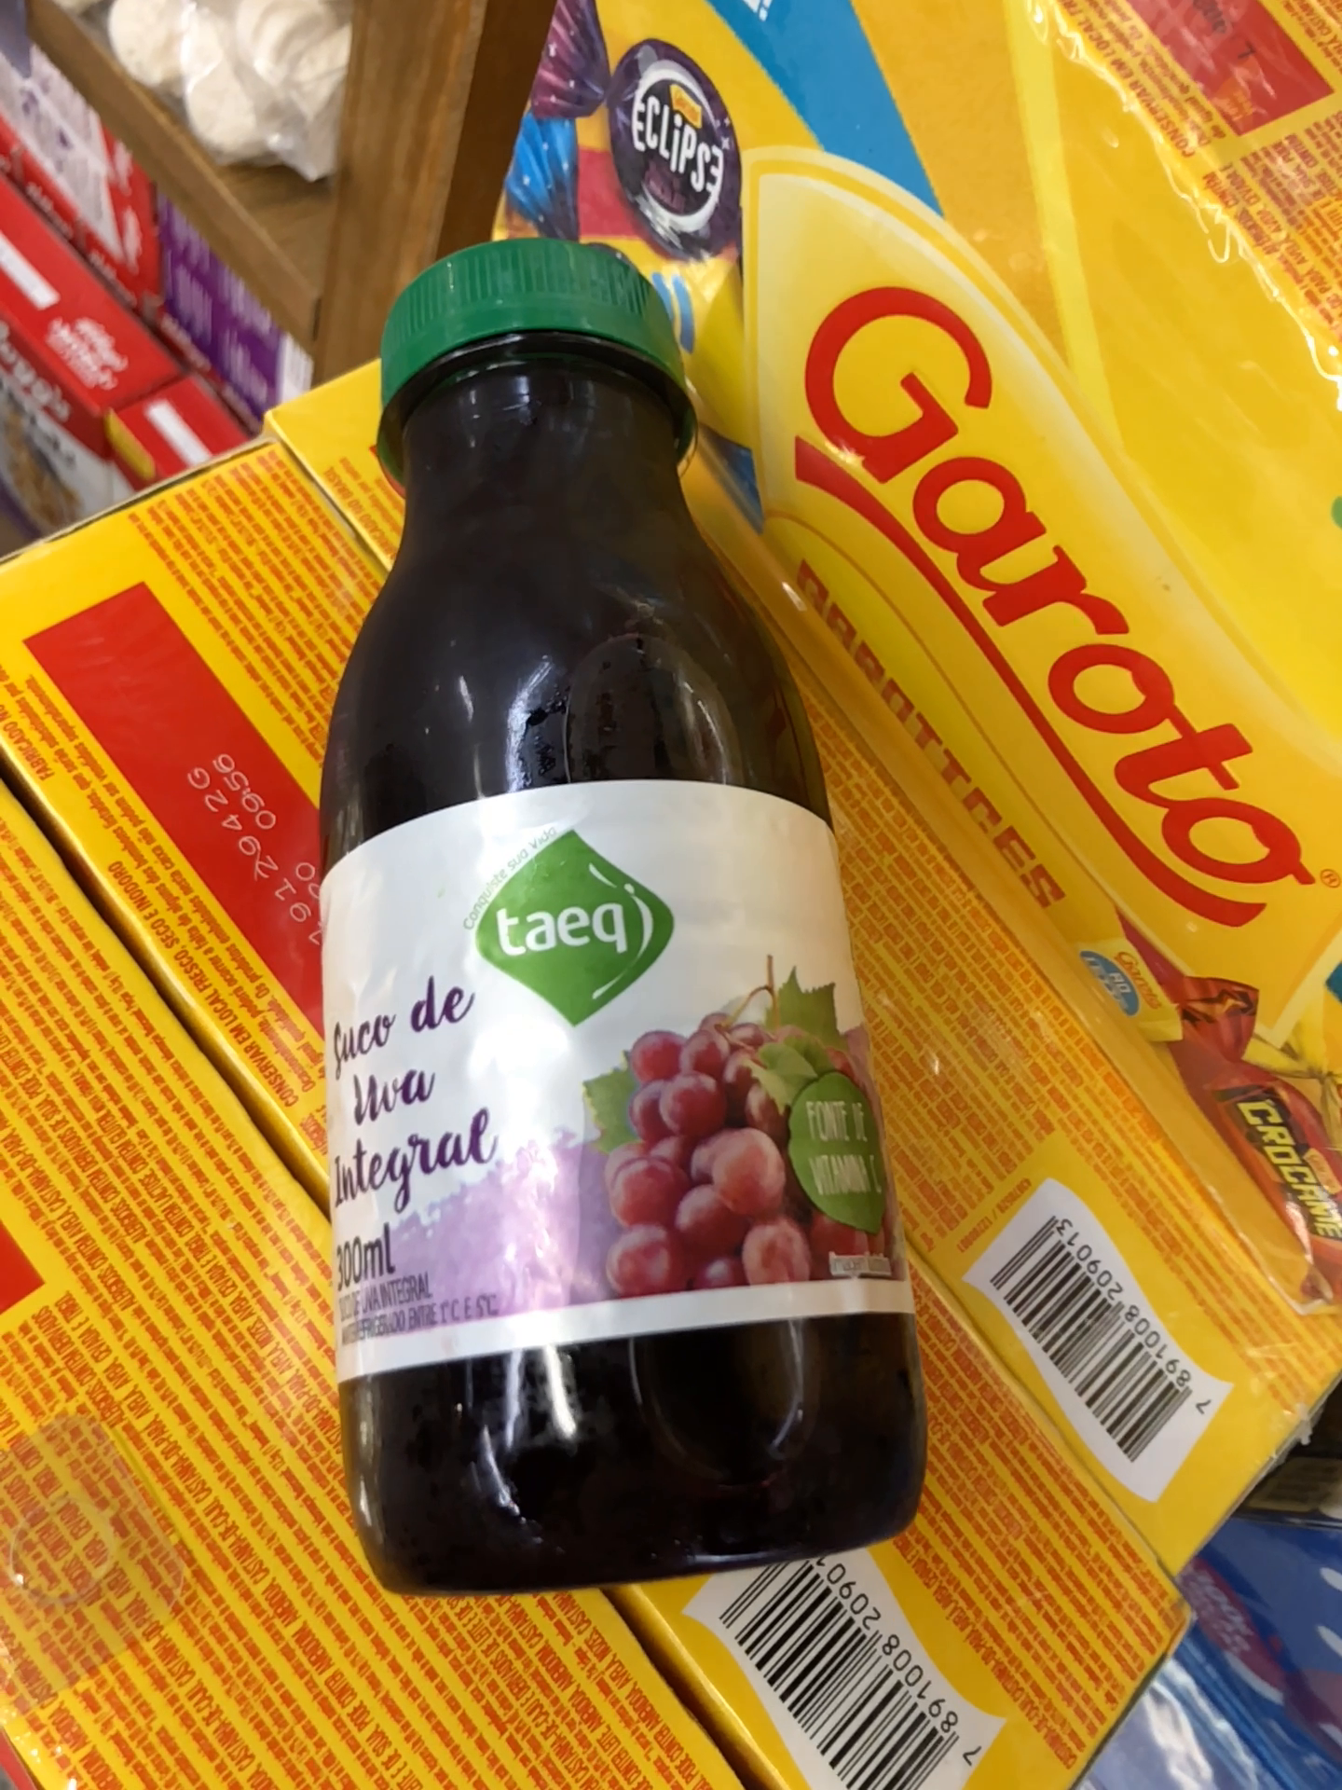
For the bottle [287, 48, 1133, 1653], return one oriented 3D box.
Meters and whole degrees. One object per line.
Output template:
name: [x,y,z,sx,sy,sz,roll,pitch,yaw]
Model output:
bottle: [-0.007,-0.011,0.181,0.070,0.050,0.170,1,68,-19]
